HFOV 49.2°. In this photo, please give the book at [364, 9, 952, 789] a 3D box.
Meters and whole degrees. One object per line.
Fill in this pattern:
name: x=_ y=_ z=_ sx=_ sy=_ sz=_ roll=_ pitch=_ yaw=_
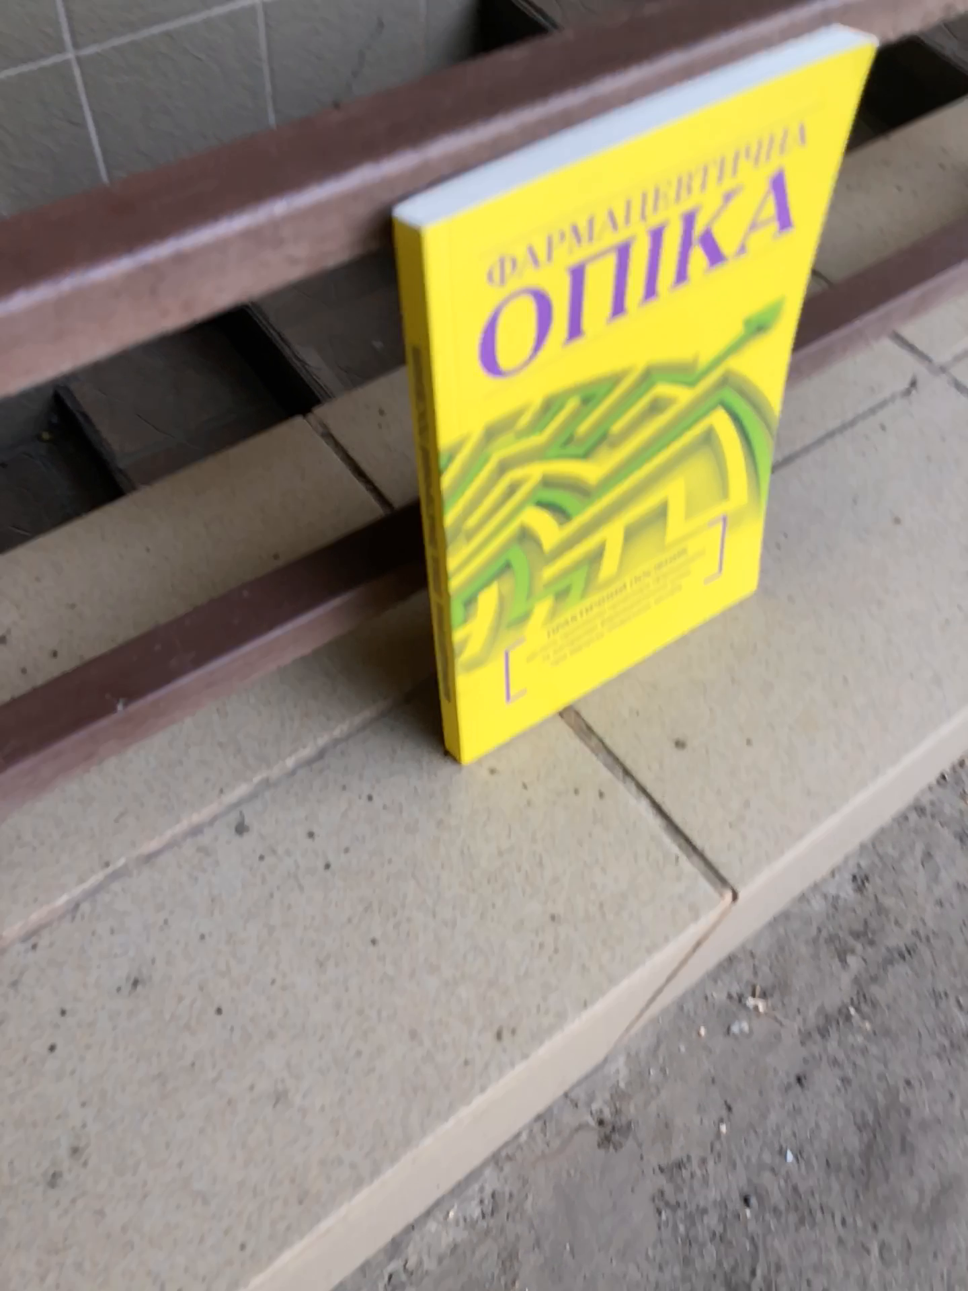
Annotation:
book: x=0.055 y=-0.067 z=0.375 sx=0.180 sy=0.239 sz=0.030 roll=-30 pitch=56 yaw=-20
